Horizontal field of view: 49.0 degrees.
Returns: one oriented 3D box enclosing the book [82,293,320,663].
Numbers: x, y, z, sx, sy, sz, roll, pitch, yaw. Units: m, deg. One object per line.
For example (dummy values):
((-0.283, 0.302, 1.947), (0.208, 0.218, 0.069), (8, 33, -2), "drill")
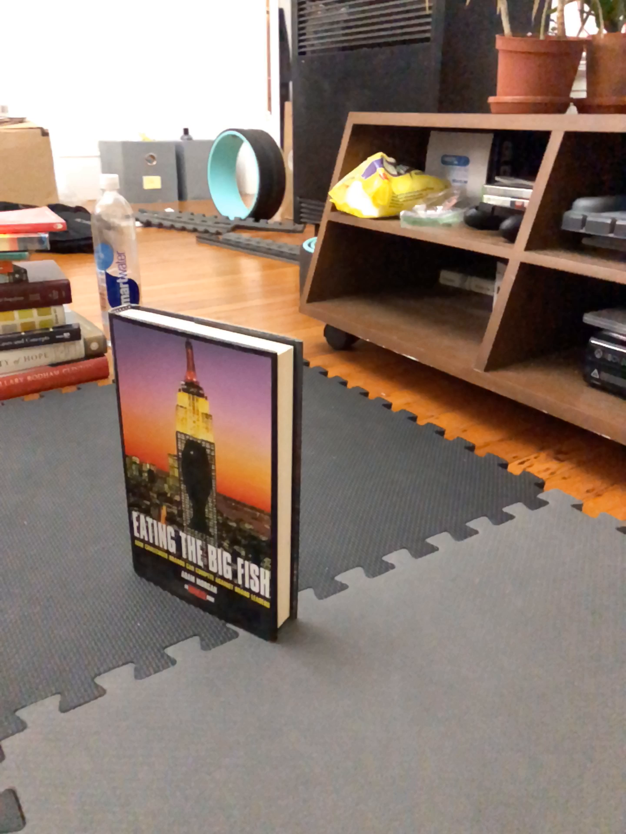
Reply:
((-0.085, 0.046, 0.547), (0.180, 0.259, 0.050), (14, 28, 29), "book")
